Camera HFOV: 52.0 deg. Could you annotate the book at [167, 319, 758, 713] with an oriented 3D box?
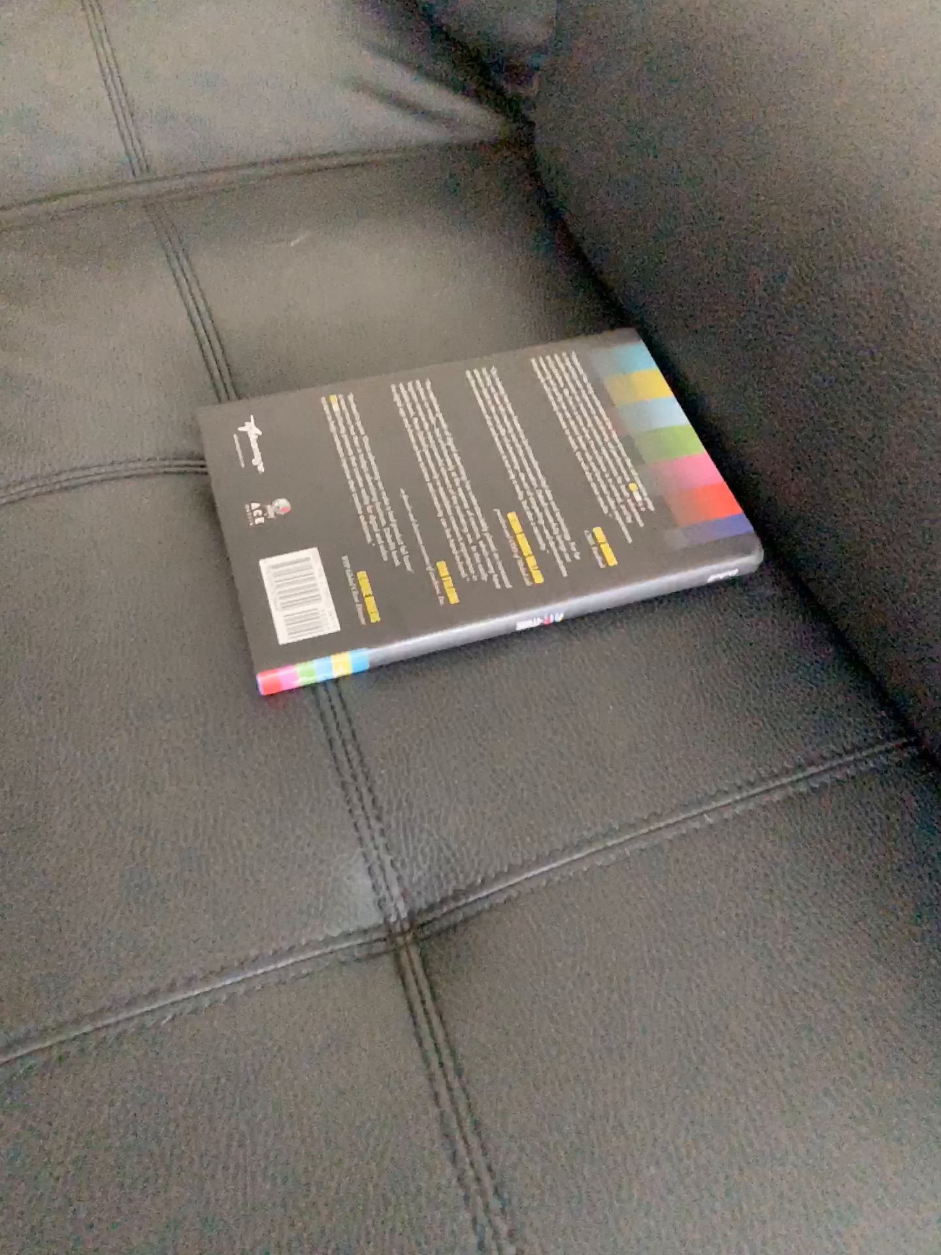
[{"bbox_3d":[-0.009,-0.064,0.456,0.236,0.030,0.161,-13,59,-12],"label":"book"}]
